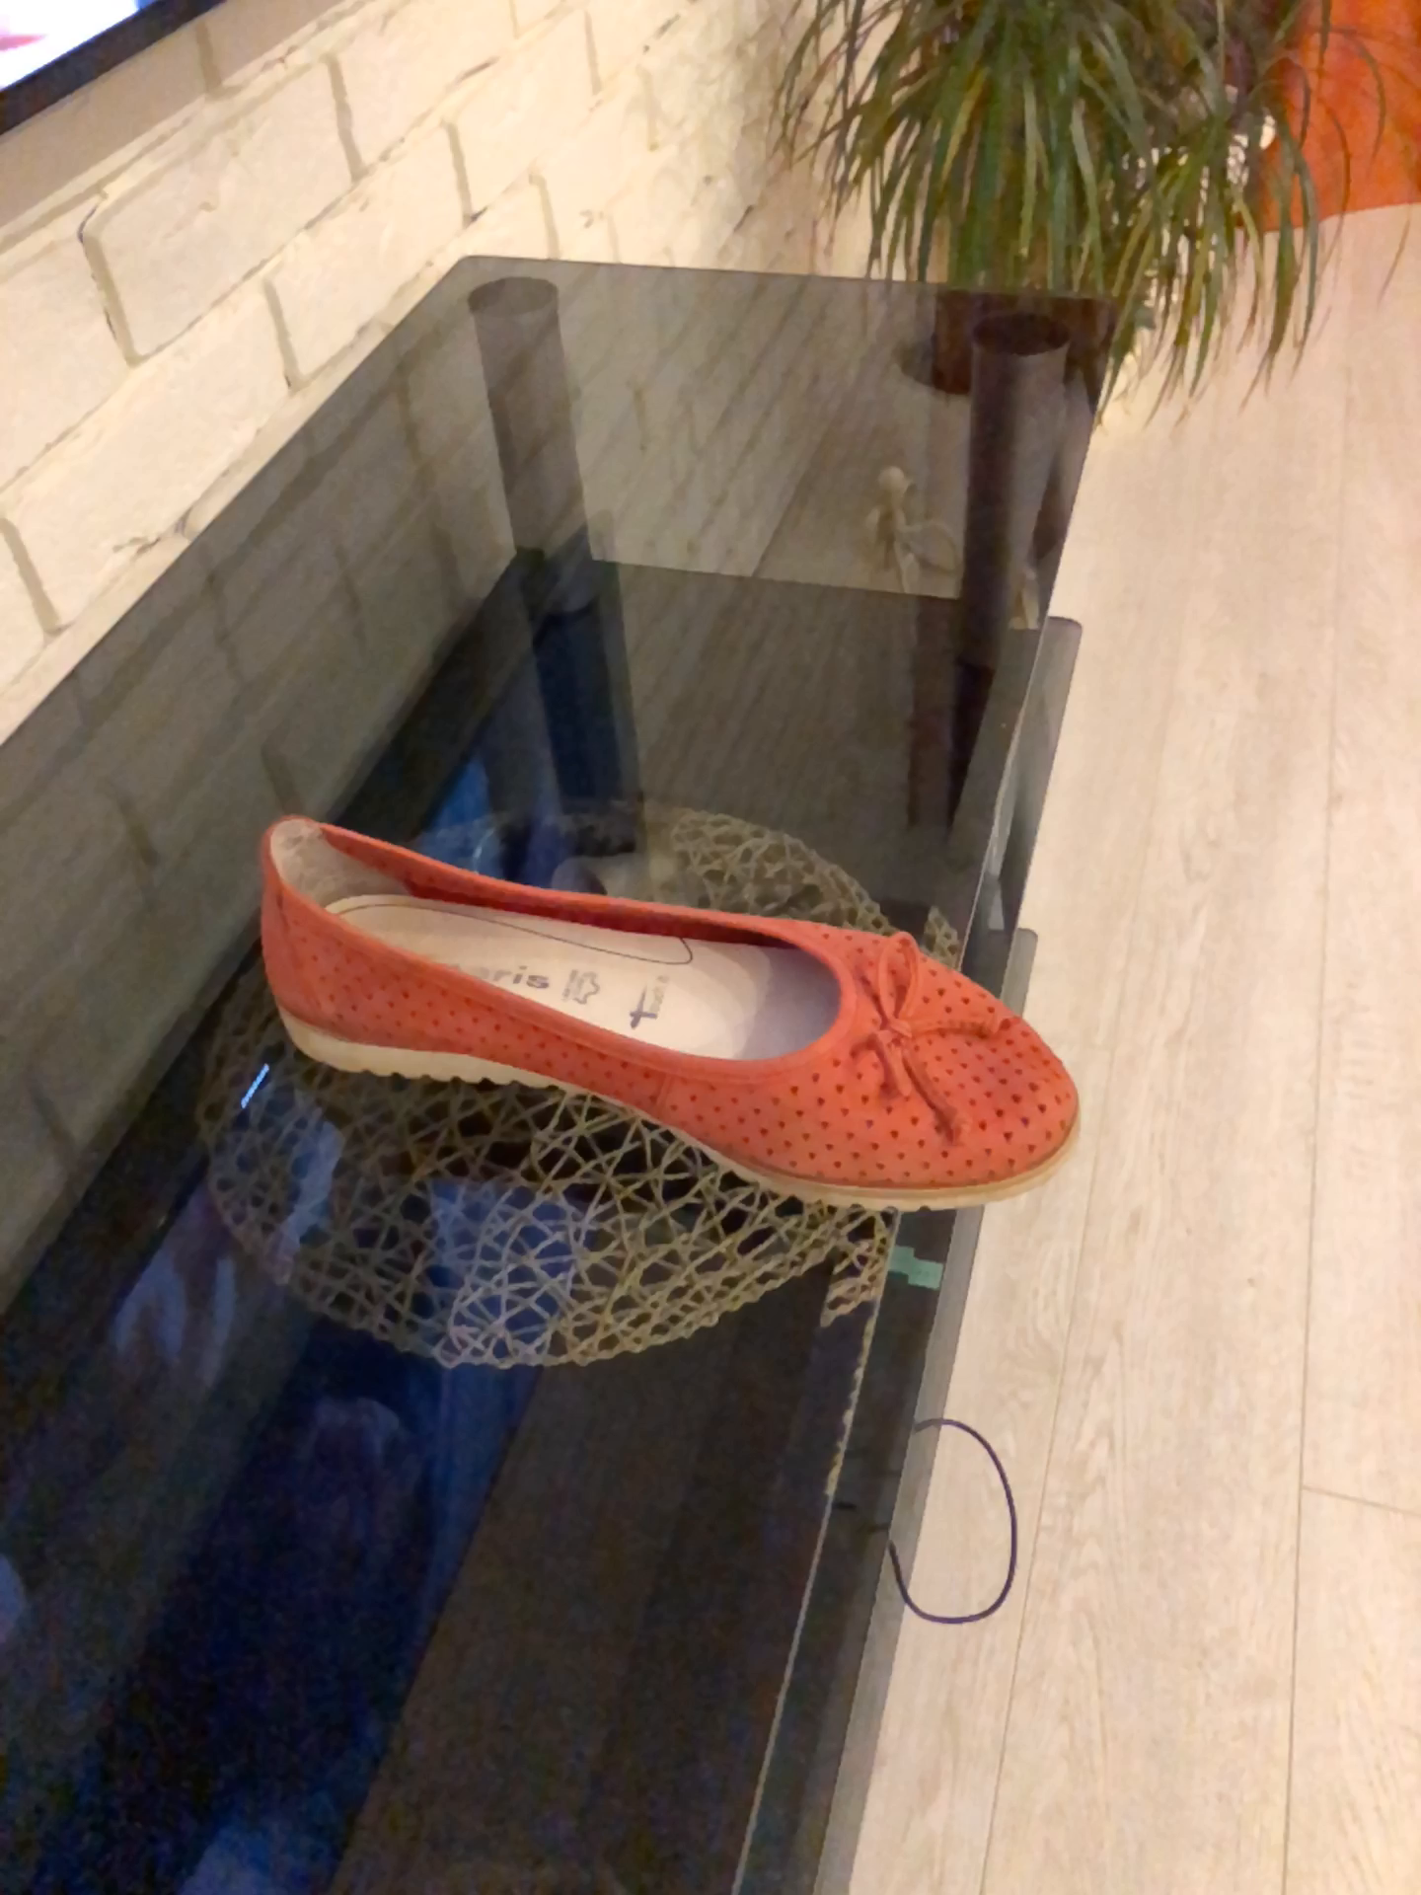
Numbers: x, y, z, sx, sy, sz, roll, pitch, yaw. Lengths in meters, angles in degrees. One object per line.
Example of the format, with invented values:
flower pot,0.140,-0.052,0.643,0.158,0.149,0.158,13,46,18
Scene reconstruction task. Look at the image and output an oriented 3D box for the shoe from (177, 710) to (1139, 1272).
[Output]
shoe,-0.013,0.006,0.452,0.247,0.079,0.091,10,47,16
